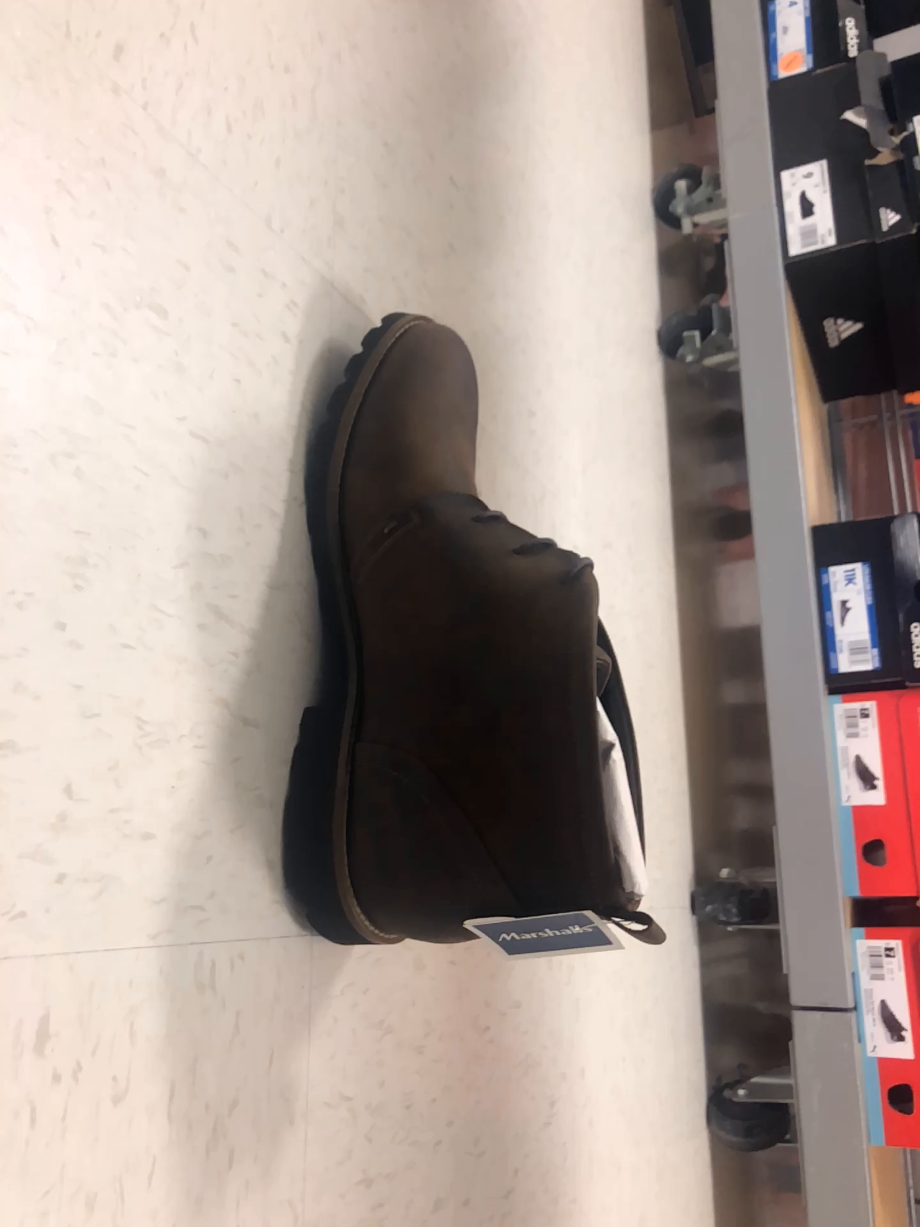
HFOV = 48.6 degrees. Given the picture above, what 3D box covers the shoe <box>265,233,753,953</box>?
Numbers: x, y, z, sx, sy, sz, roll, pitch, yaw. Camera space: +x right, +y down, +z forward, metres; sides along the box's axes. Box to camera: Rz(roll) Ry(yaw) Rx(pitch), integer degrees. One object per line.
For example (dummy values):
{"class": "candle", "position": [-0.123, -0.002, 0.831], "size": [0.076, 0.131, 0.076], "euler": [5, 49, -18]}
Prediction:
{"class": "shoe", "position": [0.027, 0.003, 0.462], "size": [0.116, 0.166, 0.283], "euler": [35, 52, -59]}
